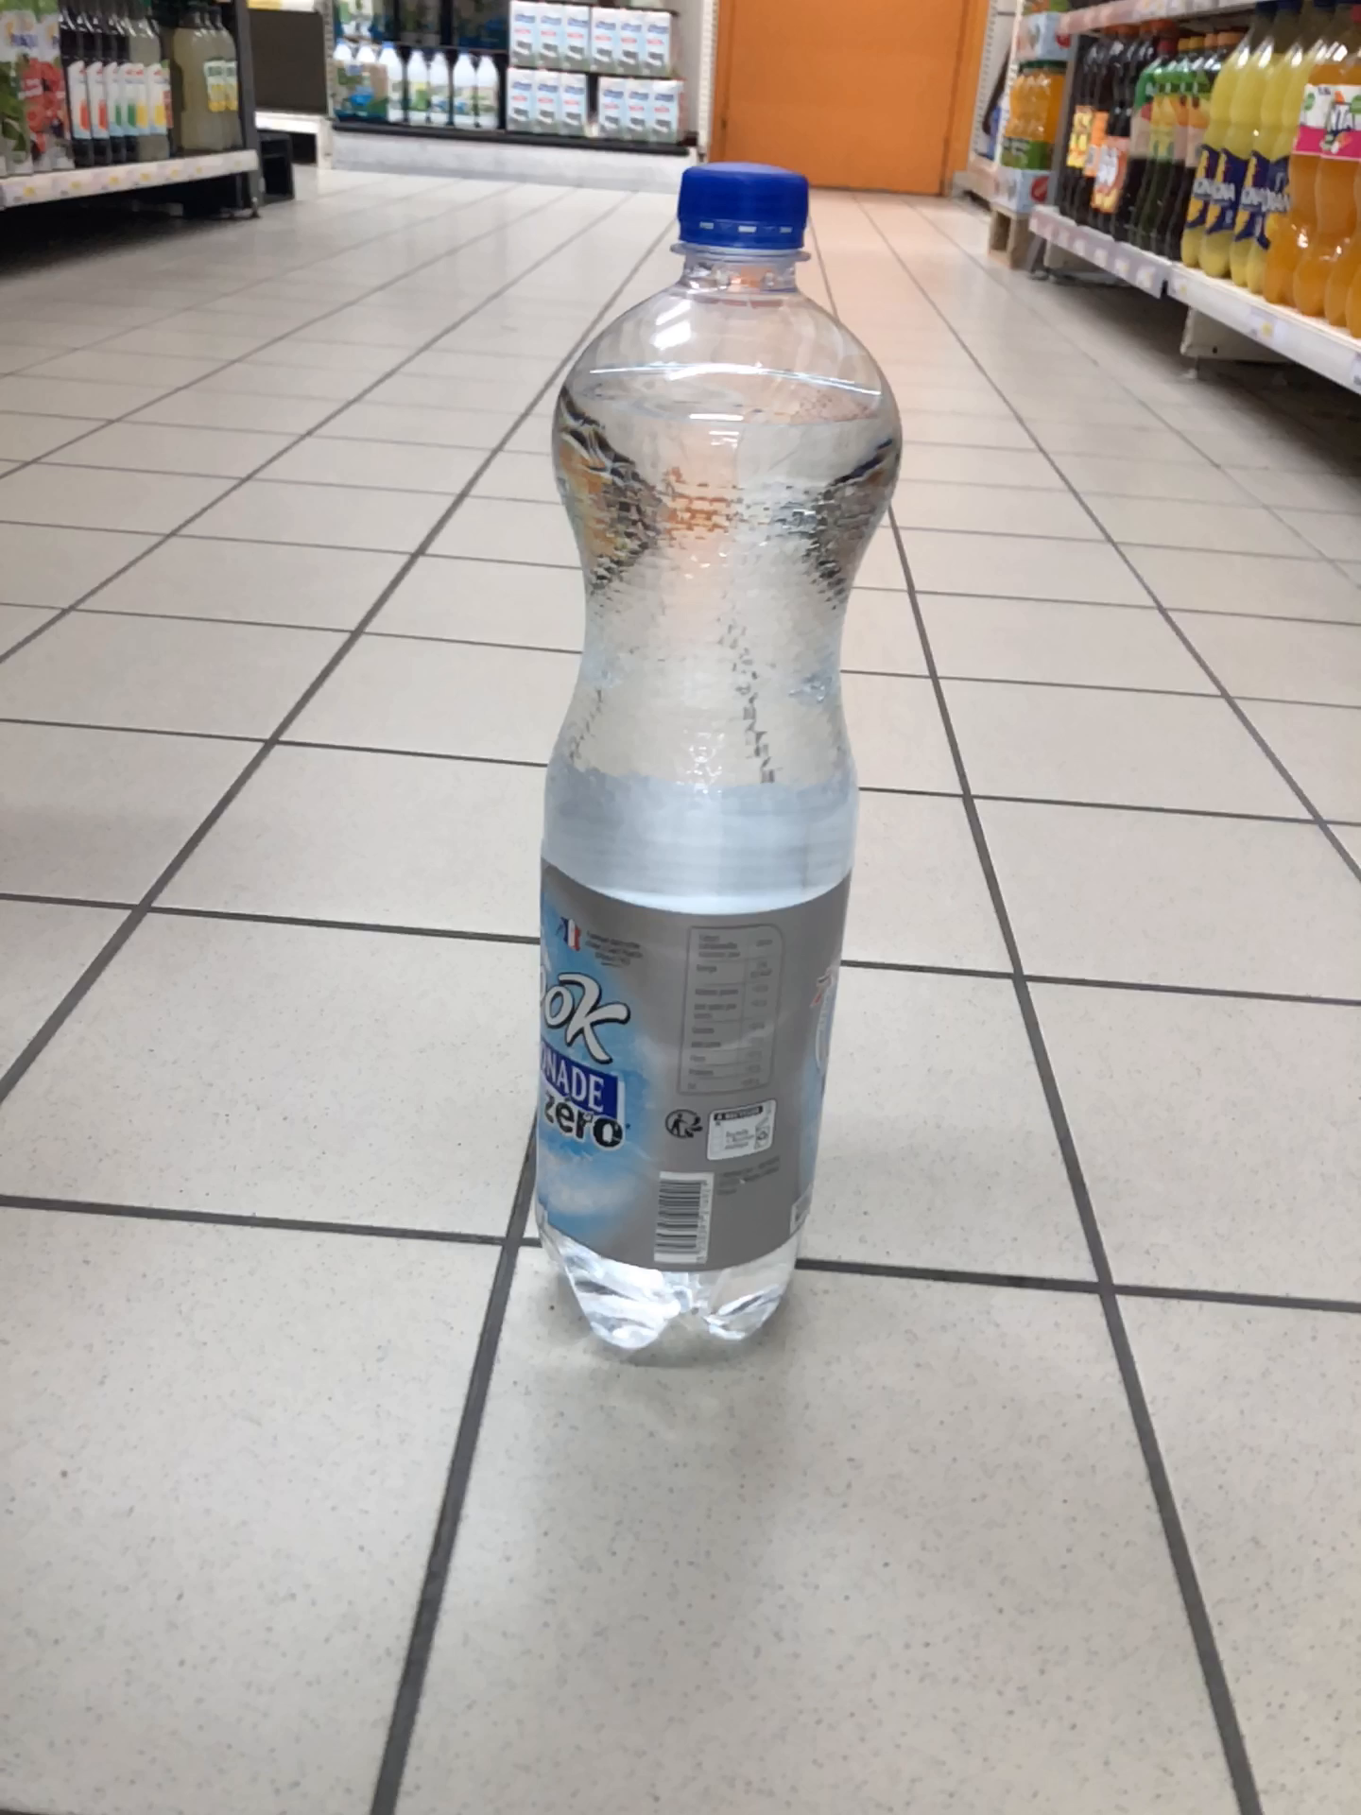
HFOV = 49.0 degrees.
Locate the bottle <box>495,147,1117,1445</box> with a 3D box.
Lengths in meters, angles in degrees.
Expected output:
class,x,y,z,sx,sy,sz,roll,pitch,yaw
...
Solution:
class,x,y,z,sx,sy,sz,roll,pitch,yaw
bottle,0.017,-0.022,0.415,0.100,0.328,0.100,3,27,-2
